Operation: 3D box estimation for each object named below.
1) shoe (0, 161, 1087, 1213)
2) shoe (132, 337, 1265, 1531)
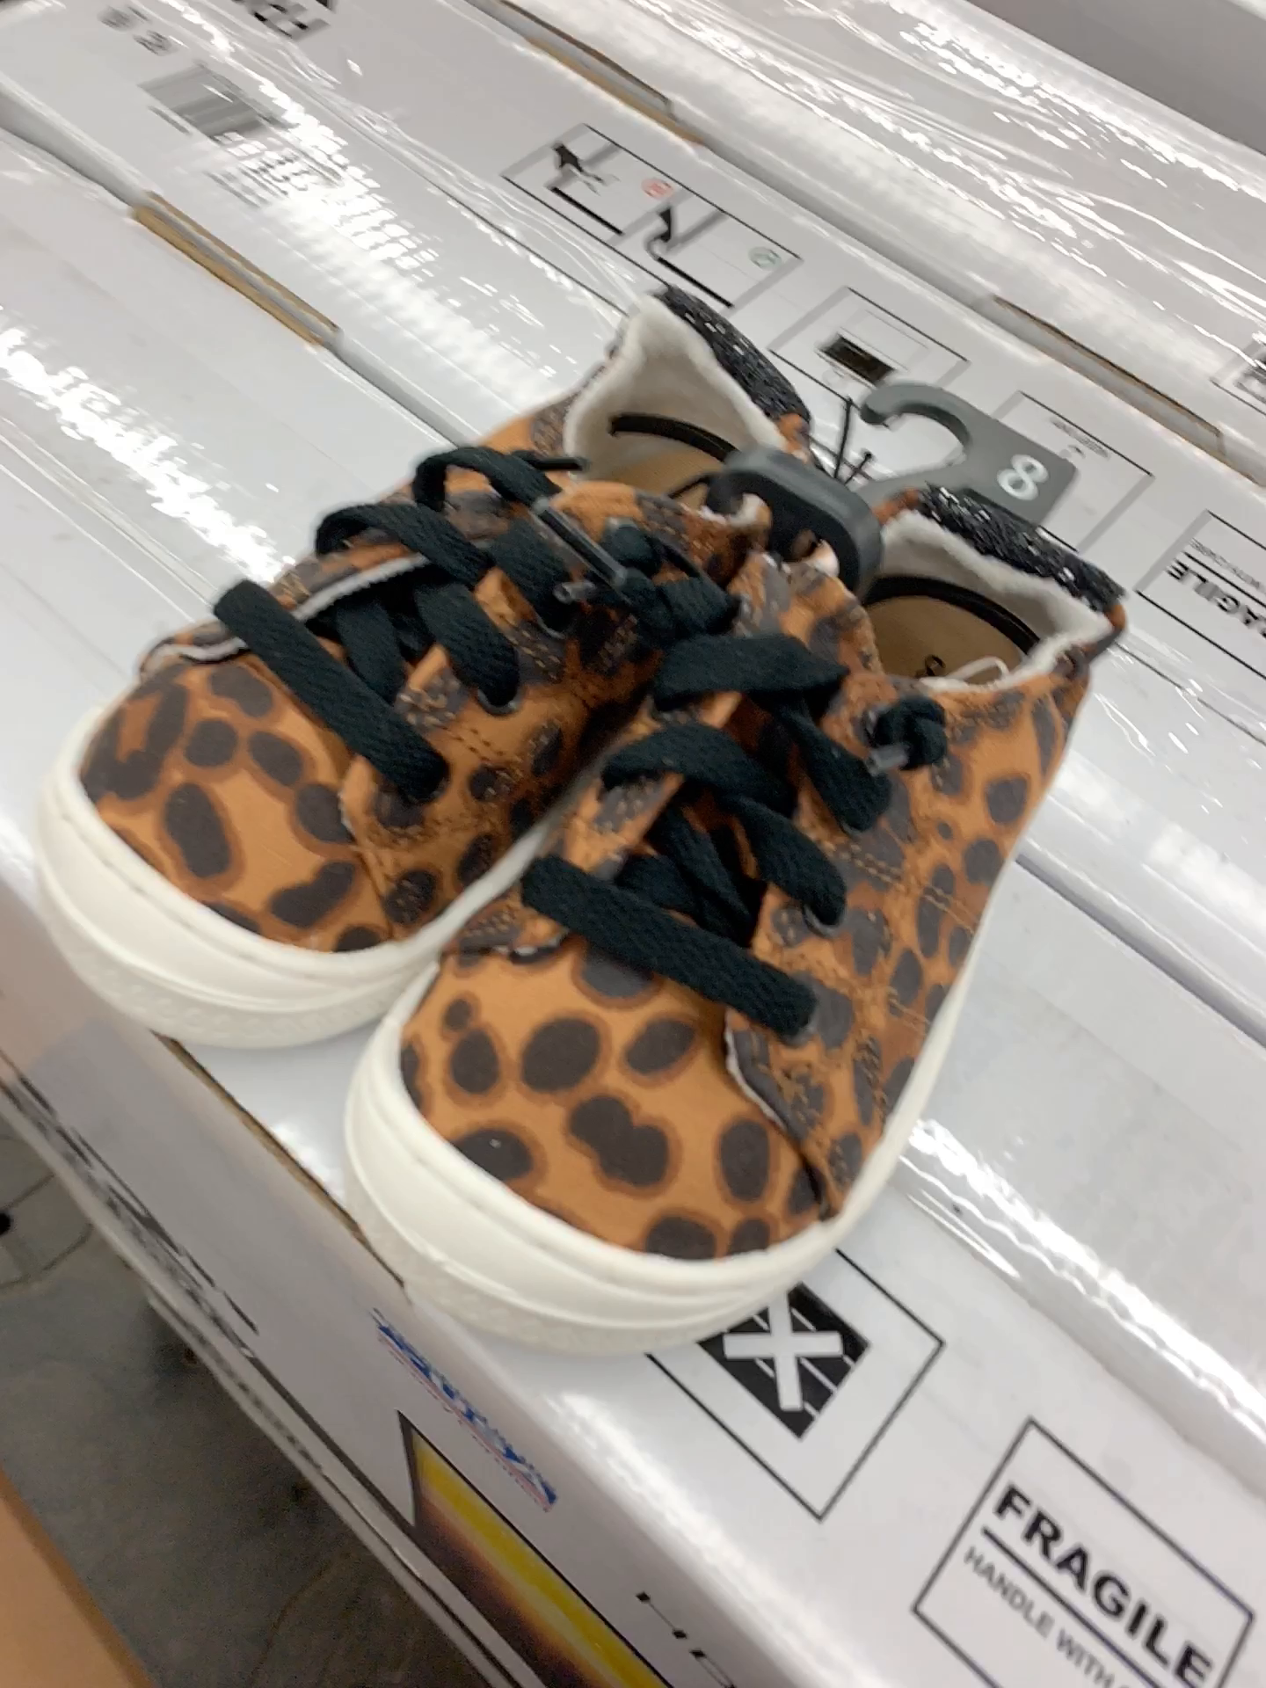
[{"bbox_3d":[-0.013,-0.039,0.201,0.080,0.040,0.170,38,60,16],"label":"shoe"},{"bbox_3d":[0.025,-0.003,0.194,0.080,0.040,0.170,36,59,15],"label":"shoe"}]
